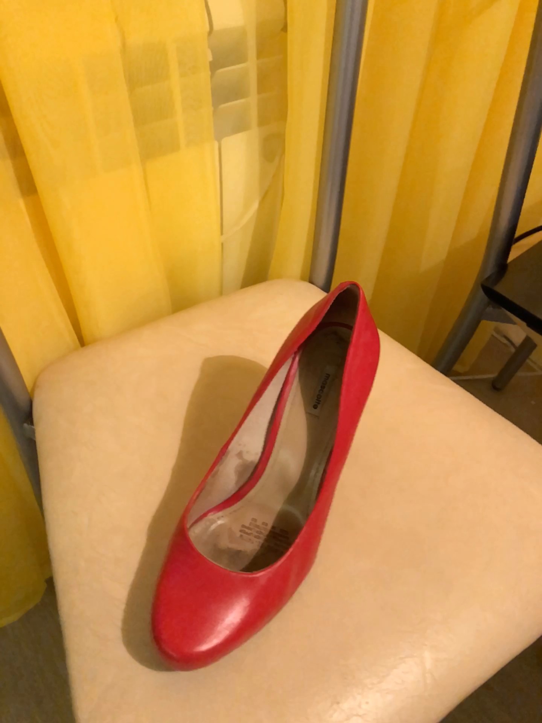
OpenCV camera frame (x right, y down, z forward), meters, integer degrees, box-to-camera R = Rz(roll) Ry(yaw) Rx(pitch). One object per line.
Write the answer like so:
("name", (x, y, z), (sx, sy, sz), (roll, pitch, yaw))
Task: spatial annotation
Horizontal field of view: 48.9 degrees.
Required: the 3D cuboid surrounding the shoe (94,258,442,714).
("shoe", (0.010, 0.063, 0.362), (0.080, 0.129, 0.231), (26, 50, 16))
